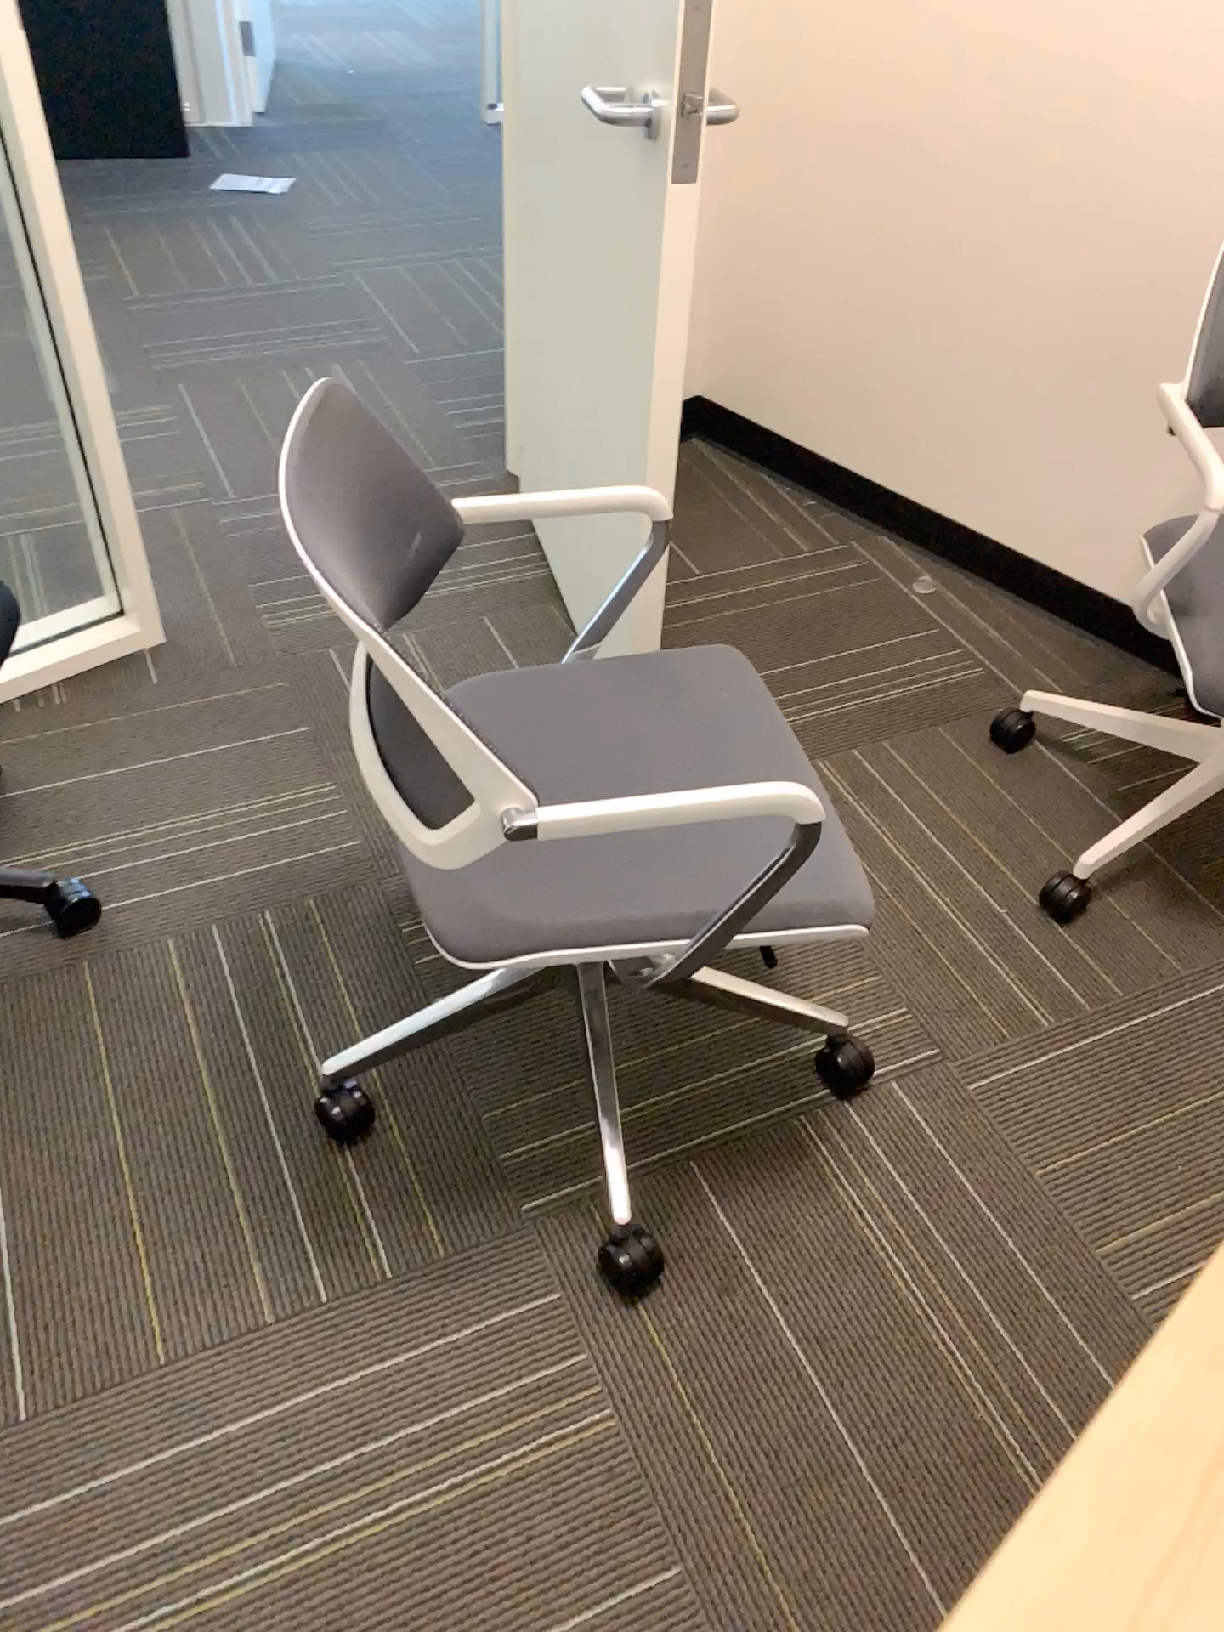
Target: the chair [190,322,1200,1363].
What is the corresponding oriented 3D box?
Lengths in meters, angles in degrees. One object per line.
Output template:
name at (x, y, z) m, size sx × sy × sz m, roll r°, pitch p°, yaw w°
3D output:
chair at (-0.016, -0.010, 1.417) m, size 0.730 × 0.765 × 0.805 m, roll -6°, pitch 43°, yaw -10°
